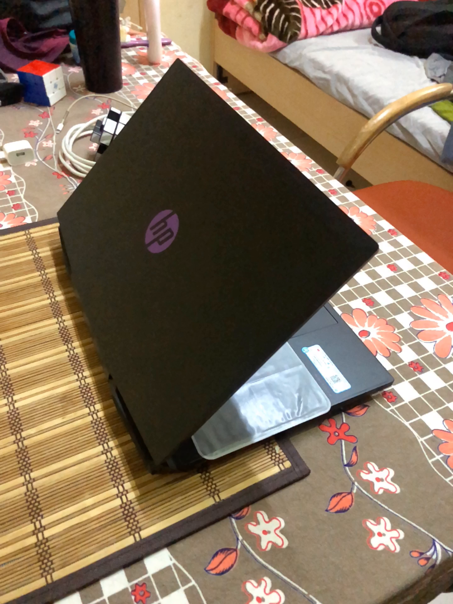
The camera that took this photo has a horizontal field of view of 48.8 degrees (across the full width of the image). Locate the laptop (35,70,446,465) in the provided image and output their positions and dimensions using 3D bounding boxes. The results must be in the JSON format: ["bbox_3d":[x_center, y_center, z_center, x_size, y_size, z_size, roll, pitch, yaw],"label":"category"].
[{"bbox_3d":[-0.016,-0.074,0.497,0.237,0.164,0.357,-14,49,-22],"label":"laptop"}]
